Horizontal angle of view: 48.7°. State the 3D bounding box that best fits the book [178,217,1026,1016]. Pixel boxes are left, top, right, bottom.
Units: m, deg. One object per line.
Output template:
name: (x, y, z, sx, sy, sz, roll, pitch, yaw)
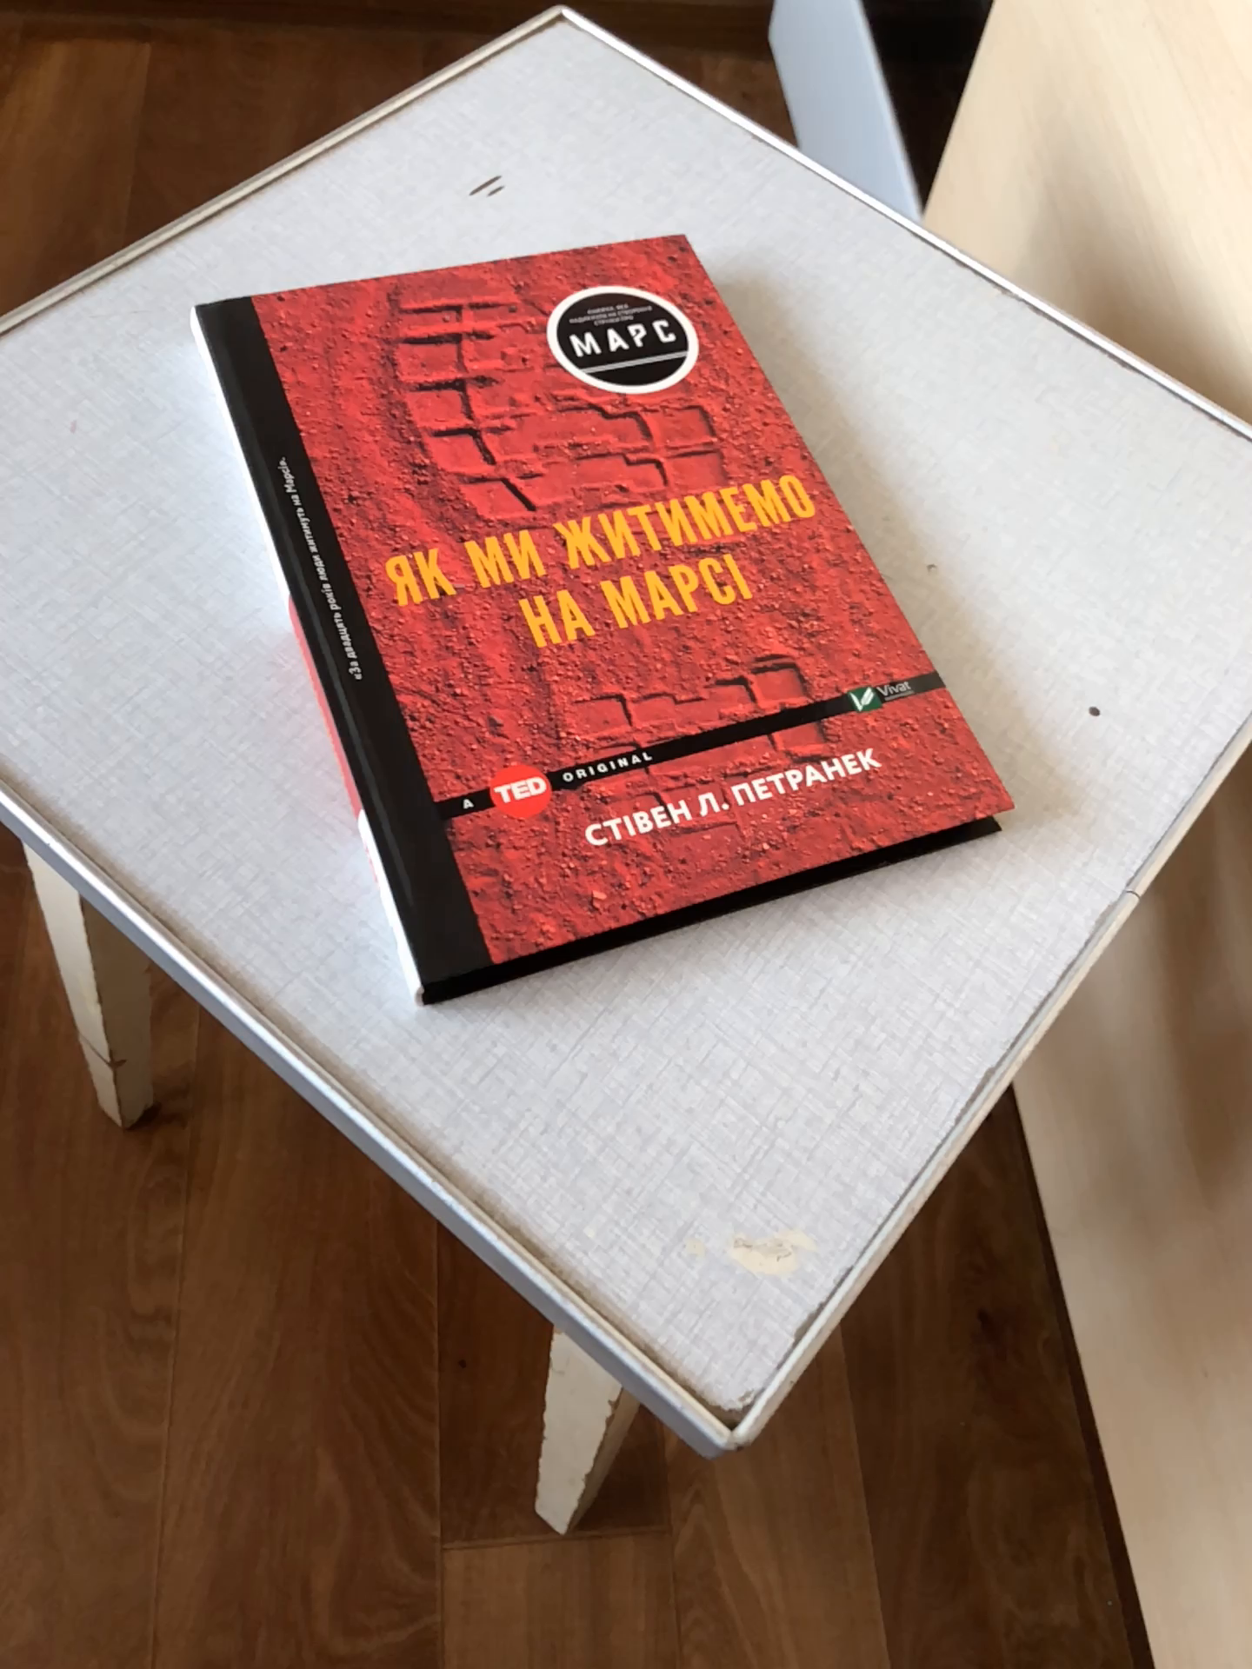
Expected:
book: (-0.015, -0.072, 0.354, 0.150, 0.020, 0.209, -15, 64, -15)
